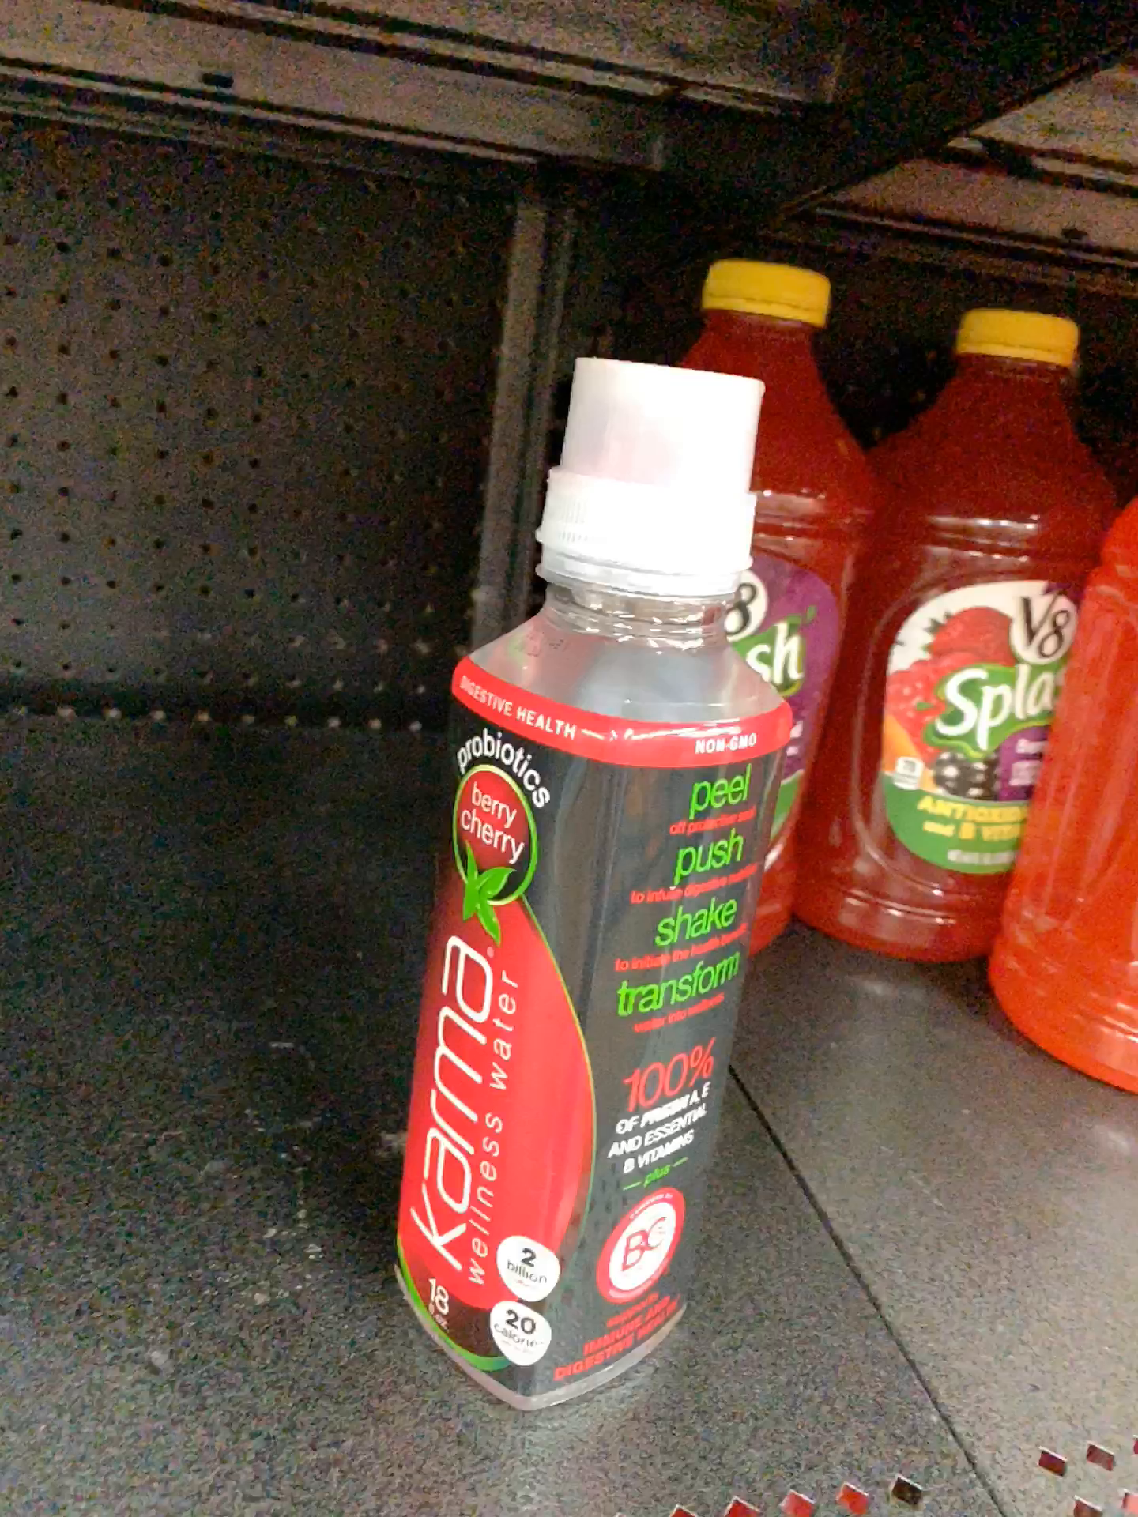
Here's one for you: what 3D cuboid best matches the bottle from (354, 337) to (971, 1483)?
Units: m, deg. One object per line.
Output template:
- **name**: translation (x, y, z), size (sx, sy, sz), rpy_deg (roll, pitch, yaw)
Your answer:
- **bottle**: translation (0.011, 0.029, 0.246), size (0.070, 0.209, 0.069), rpy_deg (7, 19, -2)
